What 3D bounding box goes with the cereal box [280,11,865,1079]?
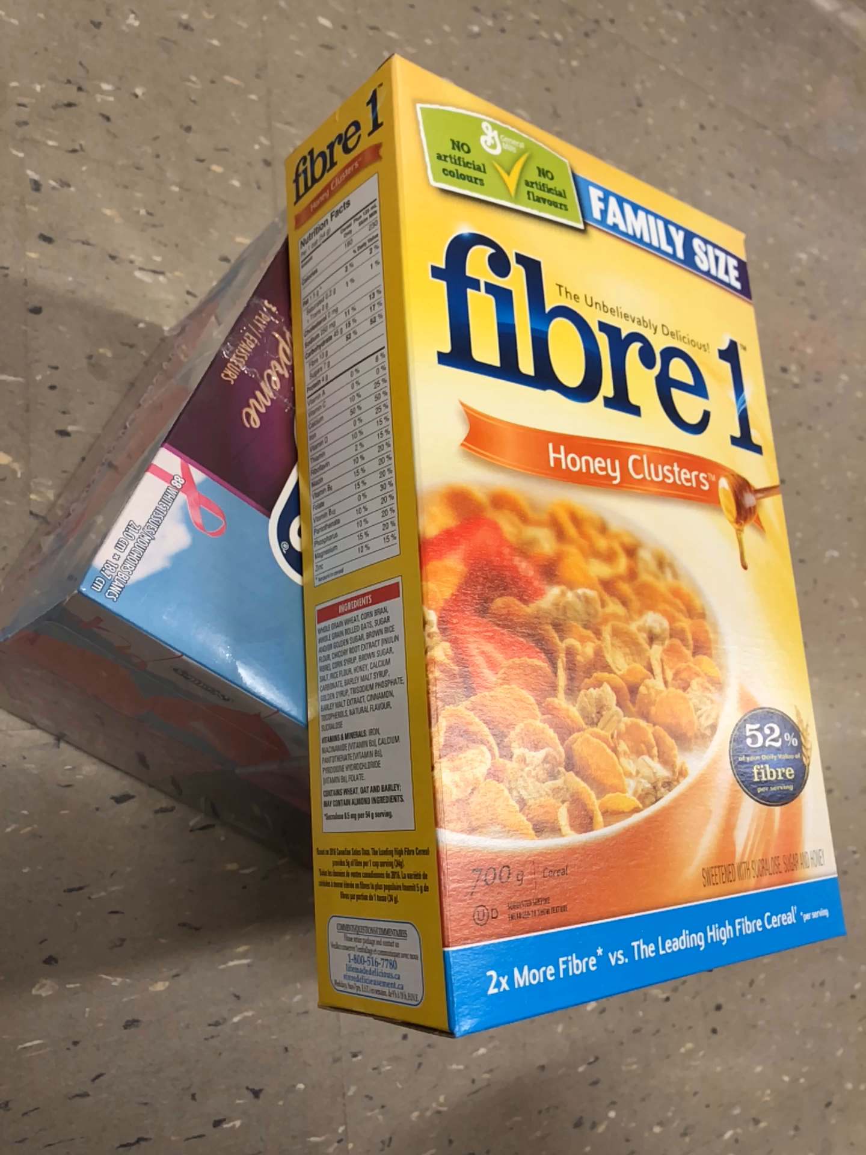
[{"bbox_3d":[0.057,-0.012,0.370,0.201,0.080,0.320,6,72,-38],"label":"cereal box"}]
